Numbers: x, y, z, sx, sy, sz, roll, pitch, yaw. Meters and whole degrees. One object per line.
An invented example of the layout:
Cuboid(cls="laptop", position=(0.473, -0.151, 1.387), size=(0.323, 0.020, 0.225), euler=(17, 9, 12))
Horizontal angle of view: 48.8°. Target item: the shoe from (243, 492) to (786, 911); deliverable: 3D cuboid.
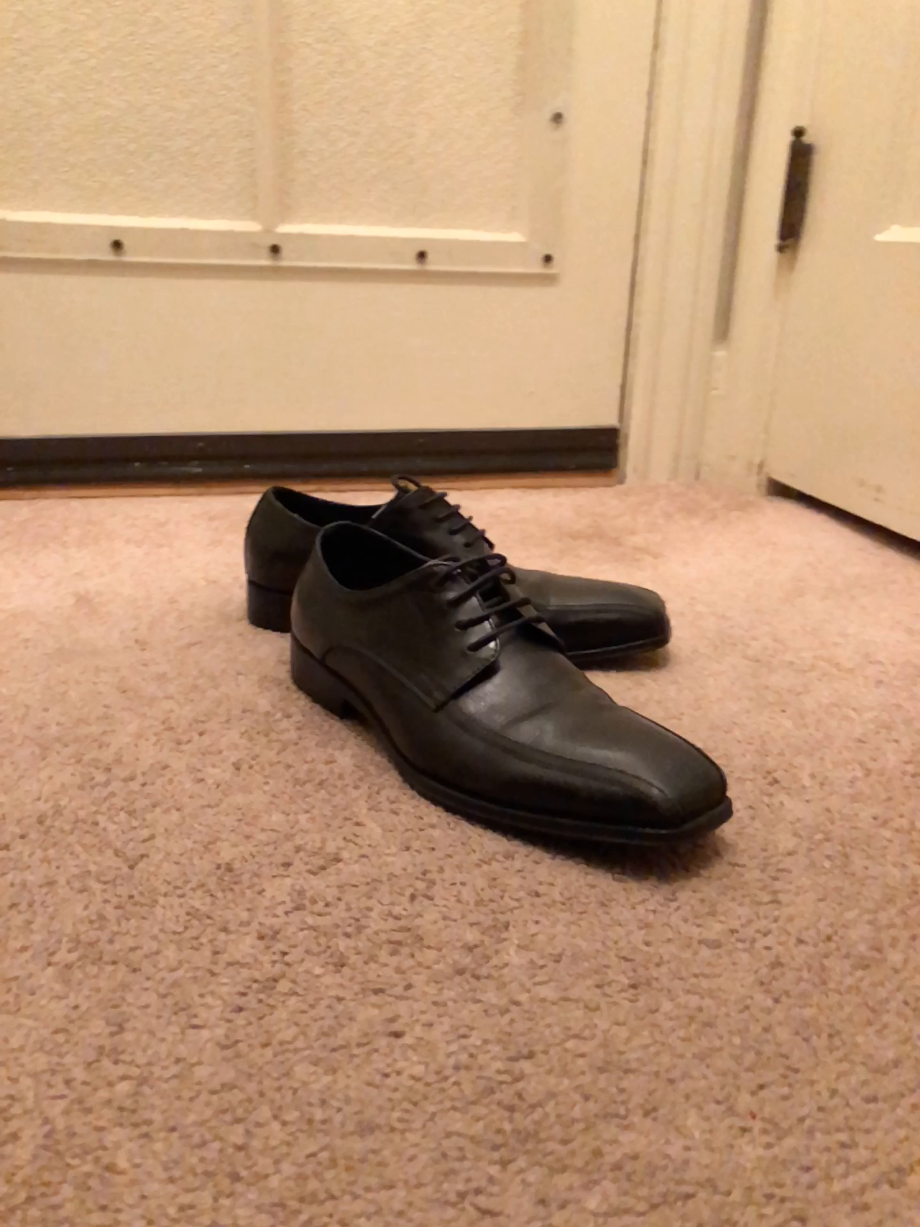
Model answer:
Cuboid(cls="shoe", position=(0.010, 0.023, 0.539), size=(0.110, 0.107, 0.283), euler=(-15, 27, -40))

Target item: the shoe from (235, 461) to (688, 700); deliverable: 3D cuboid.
Cuboid(cls="shoe", position=(0.004, -0.031, 0.722), size=(0.297, 0.110, 0.116), euler=(6, 20, 11))
